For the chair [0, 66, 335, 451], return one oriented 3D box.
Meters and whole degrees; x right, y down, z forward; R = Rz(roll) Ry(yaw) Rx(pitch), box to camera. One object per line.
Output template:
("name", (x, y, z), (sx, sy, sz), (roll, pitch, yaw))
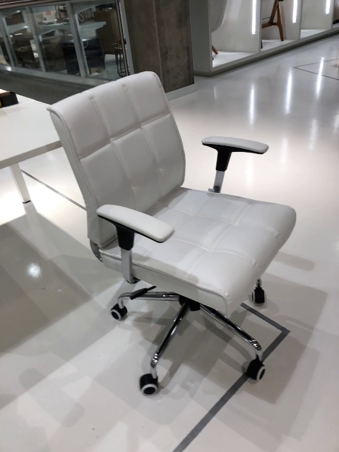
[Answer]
("chair", (0.014, 0.036, 1.244), (0.722, 0.922, 0.663), (18, 40, 33))
